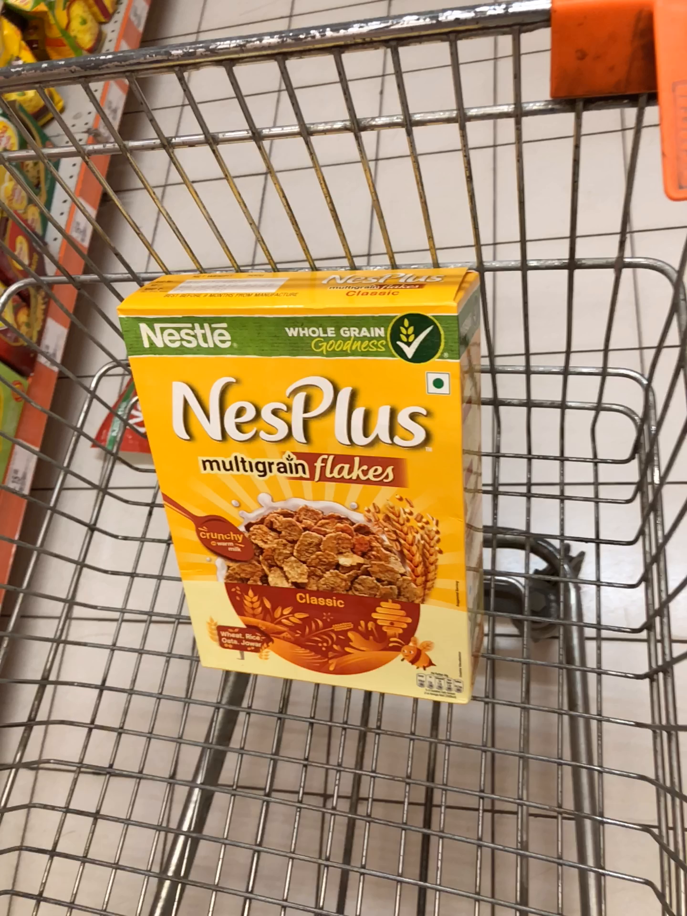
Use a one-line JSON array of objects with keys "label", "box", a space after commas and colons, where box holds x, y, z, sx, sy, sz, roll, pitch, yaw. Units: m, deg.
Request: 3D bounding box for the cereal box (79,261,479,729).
[{"label": "cereal box", "box": [-0.021, 0.021, 0.453, 0.190, 0.249, 0.090, 3, 27, 17]}]
